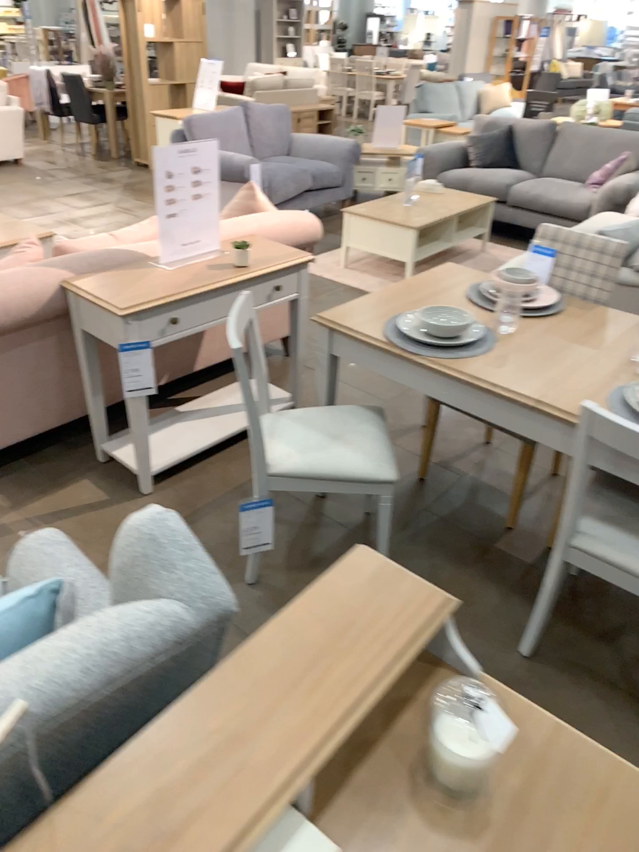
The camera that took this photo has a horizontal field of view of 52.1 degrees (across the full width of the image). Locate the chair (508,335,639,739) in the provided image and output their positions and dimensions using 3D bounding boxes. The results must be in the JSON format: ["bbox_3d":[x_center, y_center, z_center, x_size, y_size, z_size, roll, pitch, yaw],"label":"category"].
[{"bbox_3d":[0.901,0.274,1.765,0.432,0.817,0.537,25,37,32],"label":"chair"}]

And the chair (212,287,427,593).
[{"bbox_3d":[-0.025,0.048,2.031,0.534,0.817,0.465,1,31,-3],"label":"chair"}]
